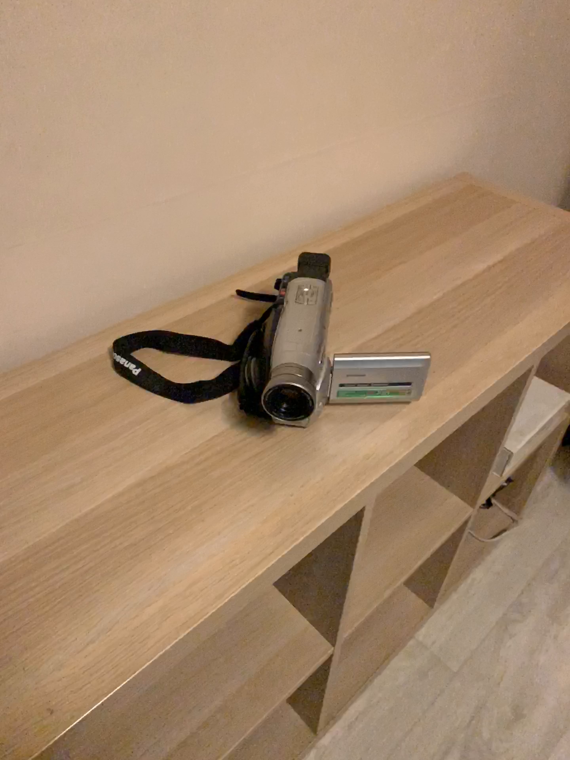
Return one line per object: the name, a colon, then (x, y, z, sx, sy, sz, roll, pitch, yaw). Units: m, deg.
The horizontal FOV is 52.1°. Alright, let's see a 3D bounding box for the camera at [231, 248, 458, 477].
camera: (0.064, -0.033, 0.649, 0.202, 0.109, 0.248, 5, 40, 4)
